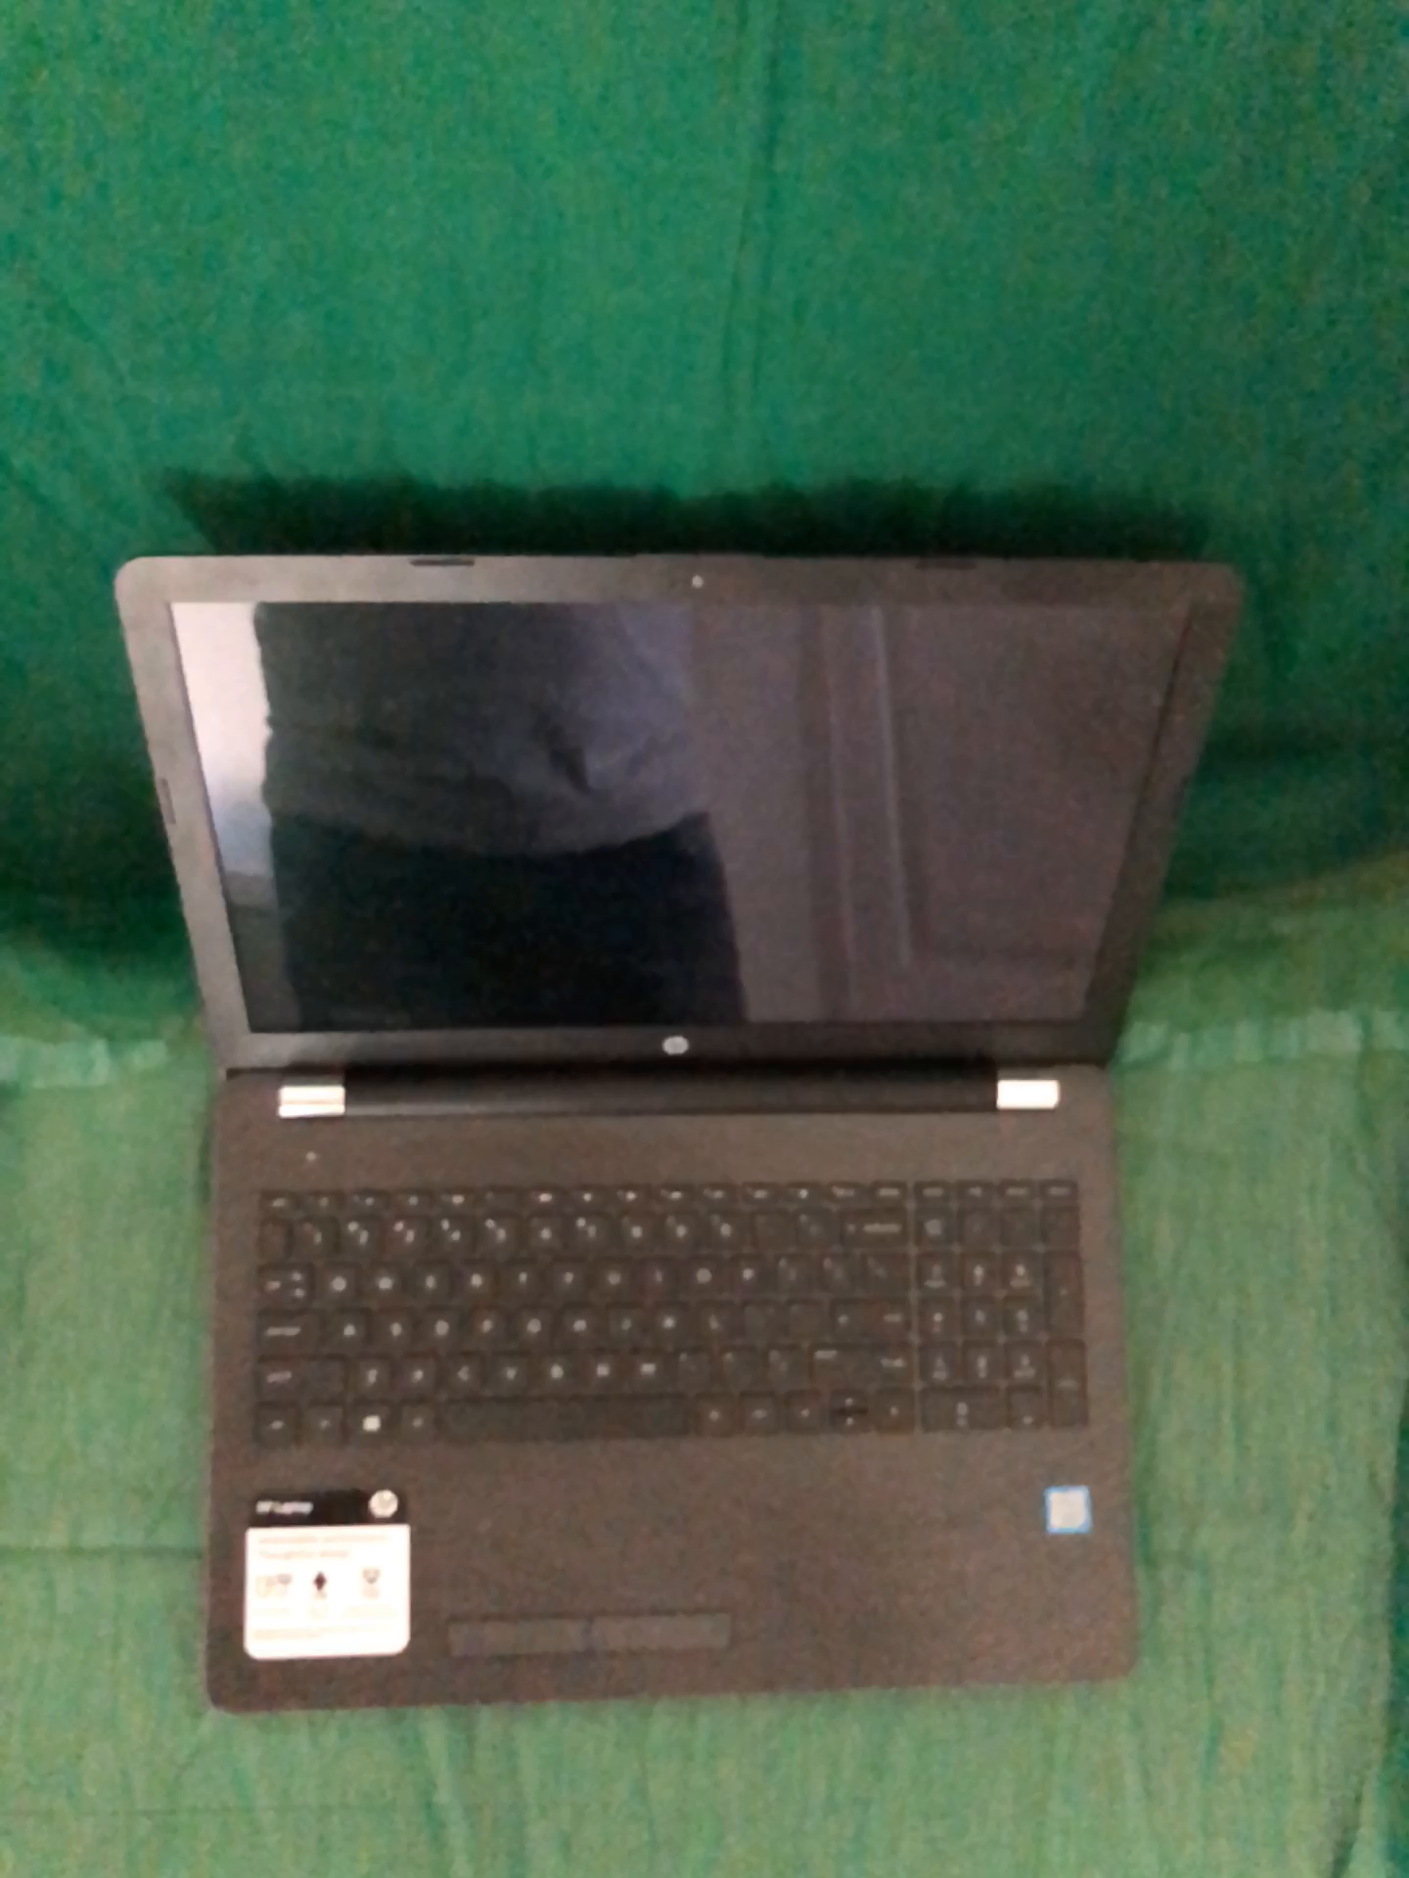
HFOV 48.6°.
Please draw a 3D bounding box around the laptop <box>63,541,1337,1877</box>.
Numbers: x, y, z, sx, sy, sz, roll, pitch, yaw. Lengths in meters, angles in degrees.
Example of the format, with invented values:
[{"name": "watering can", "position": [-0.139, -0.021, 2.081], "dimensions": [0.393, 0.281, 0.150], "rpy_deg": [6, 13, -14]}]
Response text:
[{"name": "laptop", "position": [-0.004, 0.088, 0.577], "dimensions": [0.378, 0.180, 0.414], "rpy_deg": [0, 82, -4]}]
